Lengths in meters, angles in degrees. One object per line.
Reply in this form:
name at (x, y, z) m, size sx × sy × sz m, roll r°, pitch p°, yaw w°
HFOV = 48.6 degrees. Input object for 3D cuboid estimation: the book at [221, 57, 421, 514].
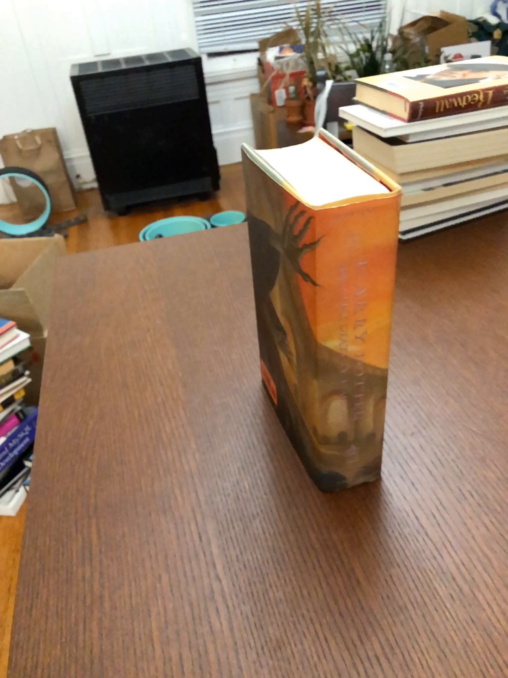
book at (0.043, -0.048, 0.457) m, size 0.070 × 0.298 × 0.211 m, roll -11°, pitch 34°, yaw -8°
